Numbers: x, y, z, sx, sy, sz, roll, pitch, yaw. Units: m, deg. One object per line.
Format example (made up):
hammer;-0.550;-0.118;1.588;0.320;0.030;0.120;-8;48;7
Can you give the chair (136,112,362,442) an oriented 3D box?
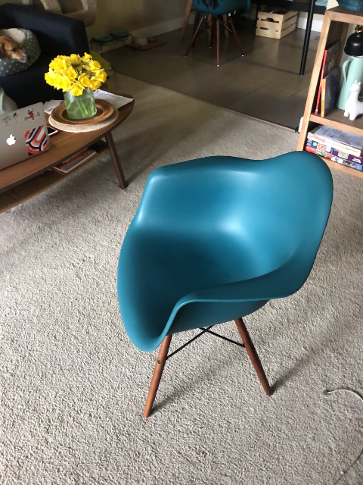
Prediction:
chair;0.147;0.121;1.266;0.481;0.844;0.573;-7;42;-10
